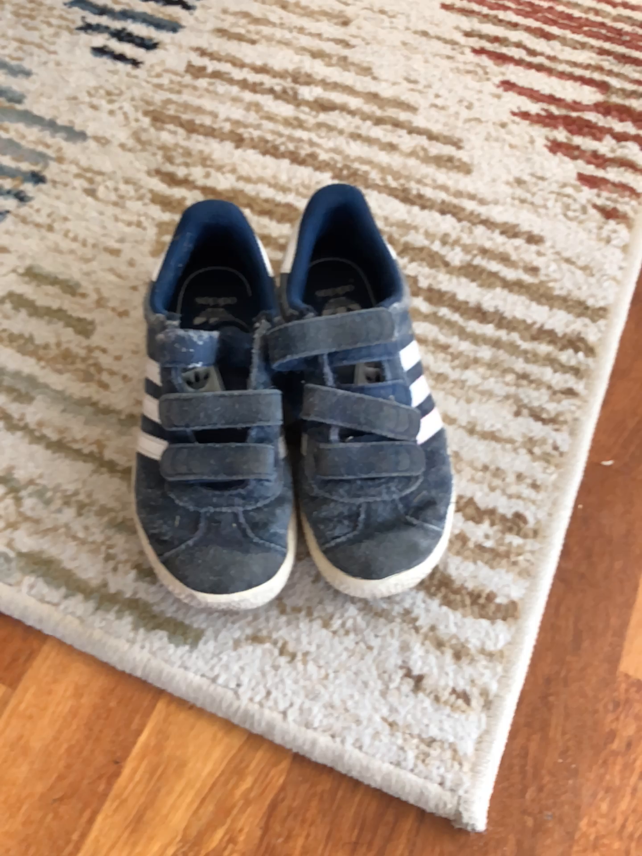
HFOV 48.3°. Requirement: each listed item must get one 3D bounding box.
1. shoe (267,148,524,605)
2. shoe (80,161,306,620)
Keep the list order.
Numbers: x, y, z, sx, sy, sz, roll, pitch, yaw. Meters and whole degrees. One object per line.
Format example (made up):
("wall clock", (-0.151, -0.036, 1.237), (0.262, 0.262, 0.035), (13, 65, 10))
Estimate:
("shoe", (0.024, -0.034, 0.344), (0.086, 0.052, 0.219), (-4, 63, -3))
("shoe", (-0.055, -0.027, 0.339), (0.084, 0.053, 0.217), (-3, 63, -3))
